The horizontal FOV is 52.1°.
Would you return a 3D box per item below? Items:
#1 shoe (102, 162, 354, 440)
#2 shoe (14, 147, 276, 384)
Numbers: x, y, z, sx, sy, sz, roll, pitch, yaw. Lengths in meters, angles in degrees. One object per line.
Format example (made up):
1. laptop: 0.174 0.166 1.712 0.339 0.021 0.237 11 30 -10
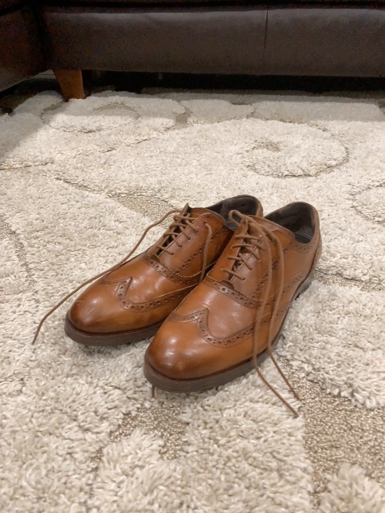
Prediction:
1. shoe: 0.055 0.020 0.417 0.105 0.131 0.282 24 43 30
2. shoe: -0.032 -0.012 0.461 0.105 0.131 0.284 28 45 33
